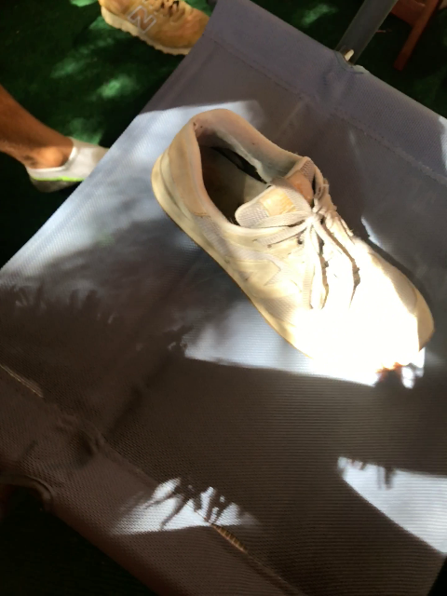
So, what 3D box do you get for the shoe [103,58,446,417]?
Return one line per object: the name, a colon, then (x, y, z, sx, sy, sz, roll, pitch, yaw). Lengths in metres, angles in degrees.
shoe: (0.055, -0.055, 0.404, 0.287, 0.104, 0.125, 39, 73, 18)
